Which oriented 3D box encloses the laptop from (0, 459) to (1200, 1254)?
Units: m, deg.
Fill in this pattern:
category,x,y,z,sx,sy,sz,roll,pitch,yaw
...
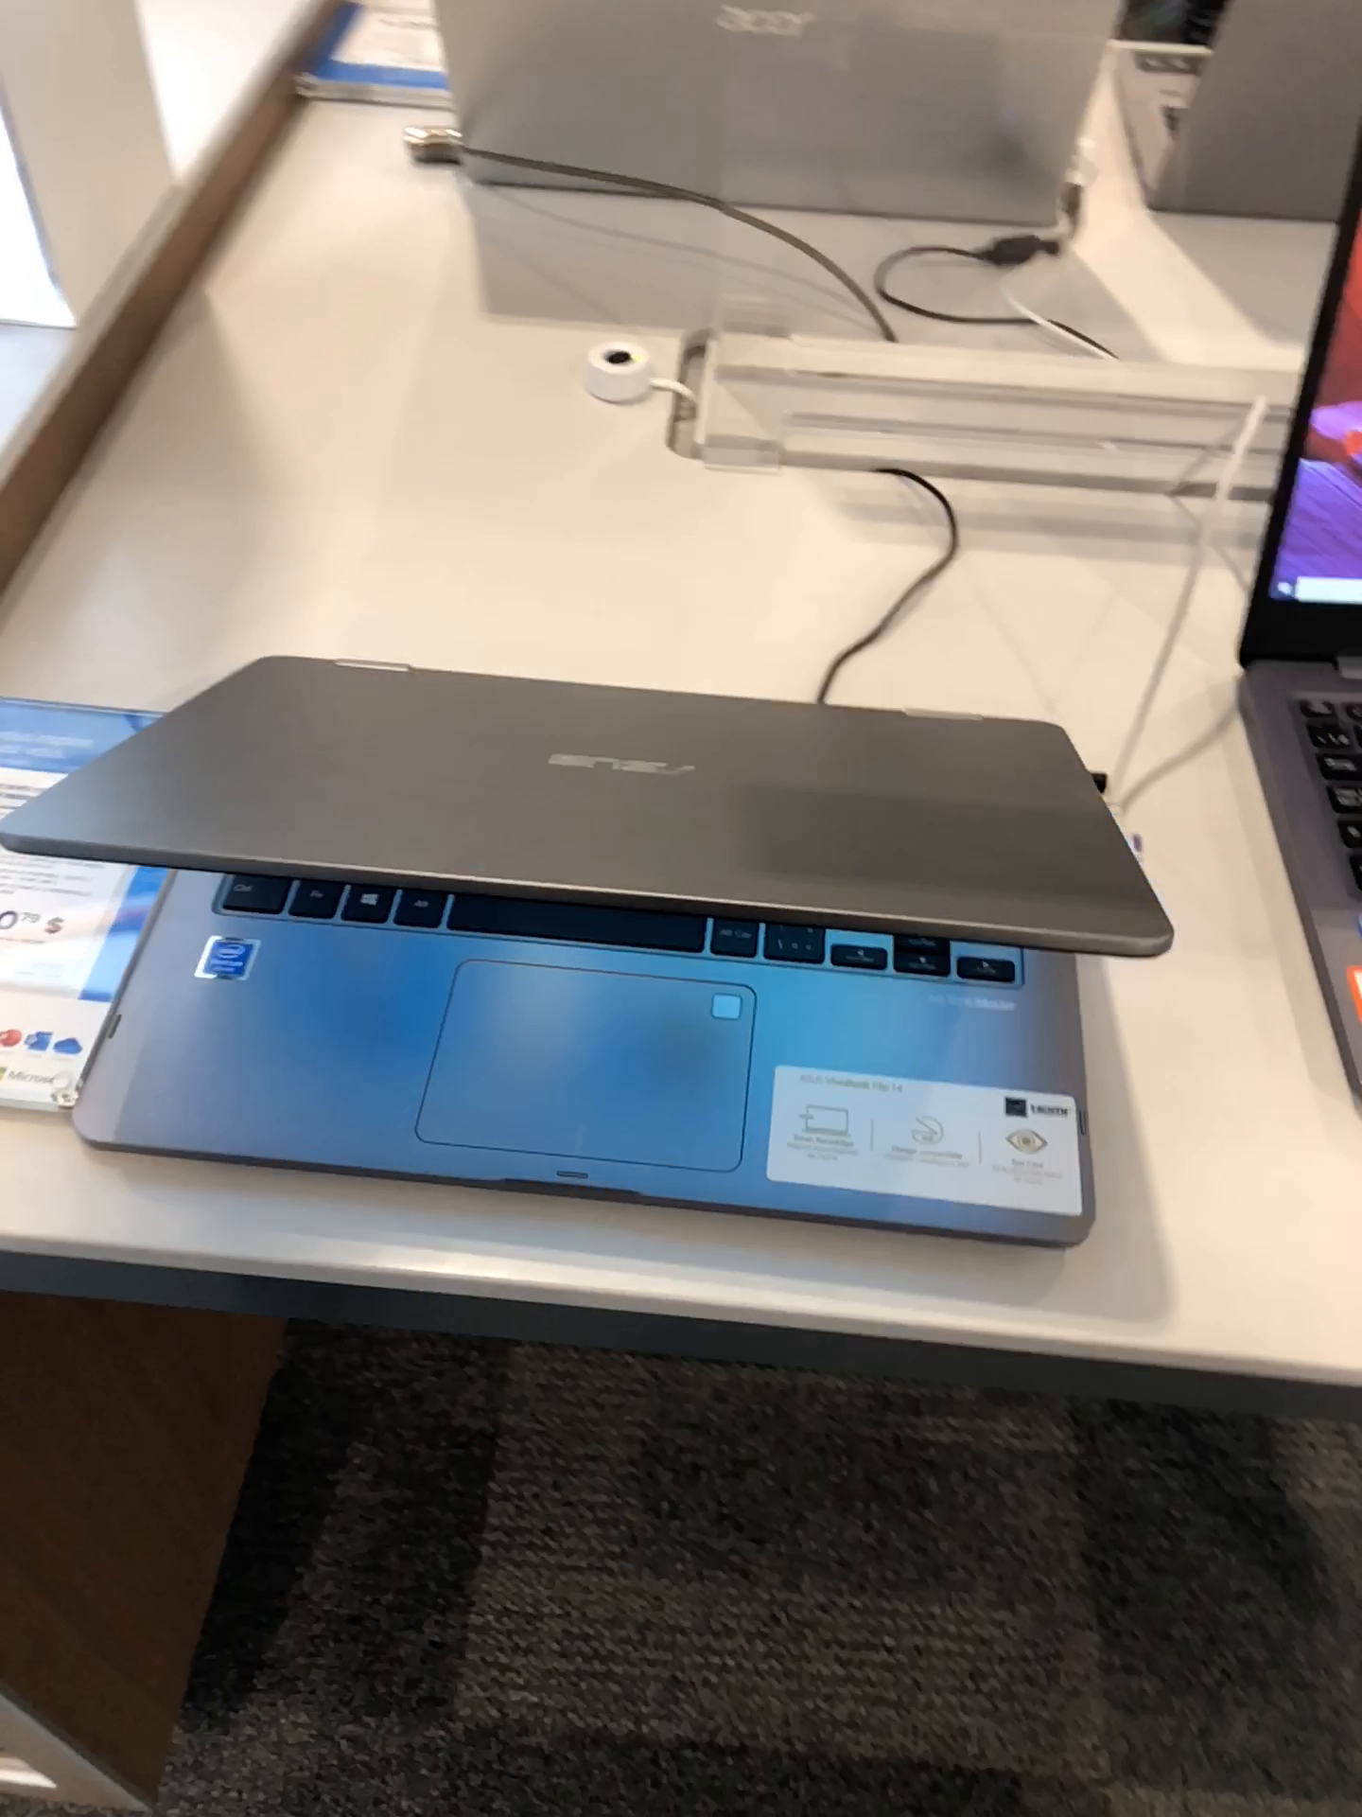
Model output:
category,x,y,z,sx,sy,sz,roll,pitch,yaw
laptop,-0.024,-0.028,0.485,0.321,0.105,0.215,5,50,4
